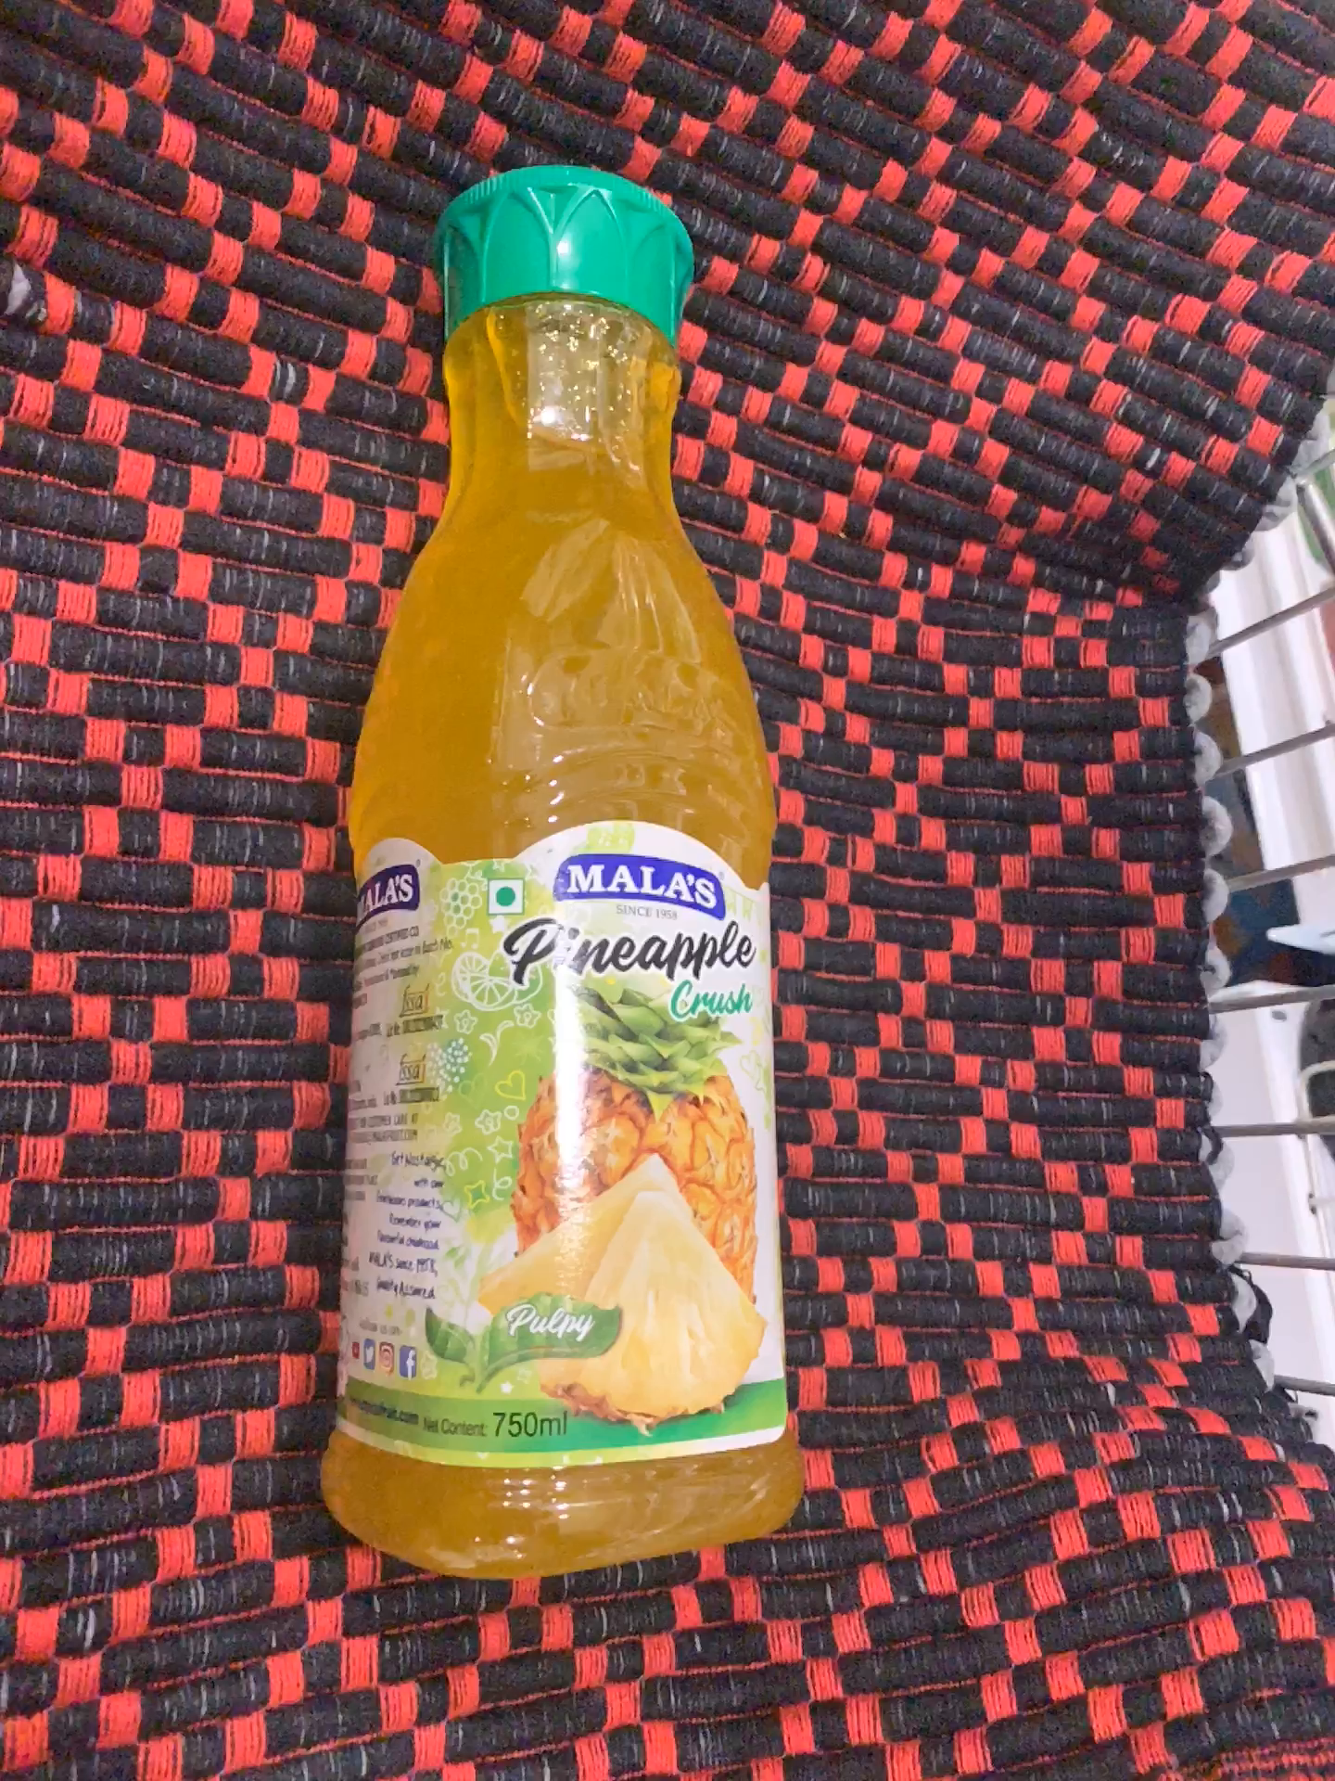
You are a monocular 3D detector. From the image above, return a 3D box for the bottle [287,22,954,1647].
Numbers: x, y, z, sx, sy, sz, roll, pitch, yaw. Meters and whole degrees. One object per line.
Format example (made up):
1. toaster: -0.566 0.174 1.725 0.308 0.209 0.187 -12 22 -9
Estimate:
1. bottle: -0.012 -0.011 0.240 0.080 0.070 0.230 6 76 -32
